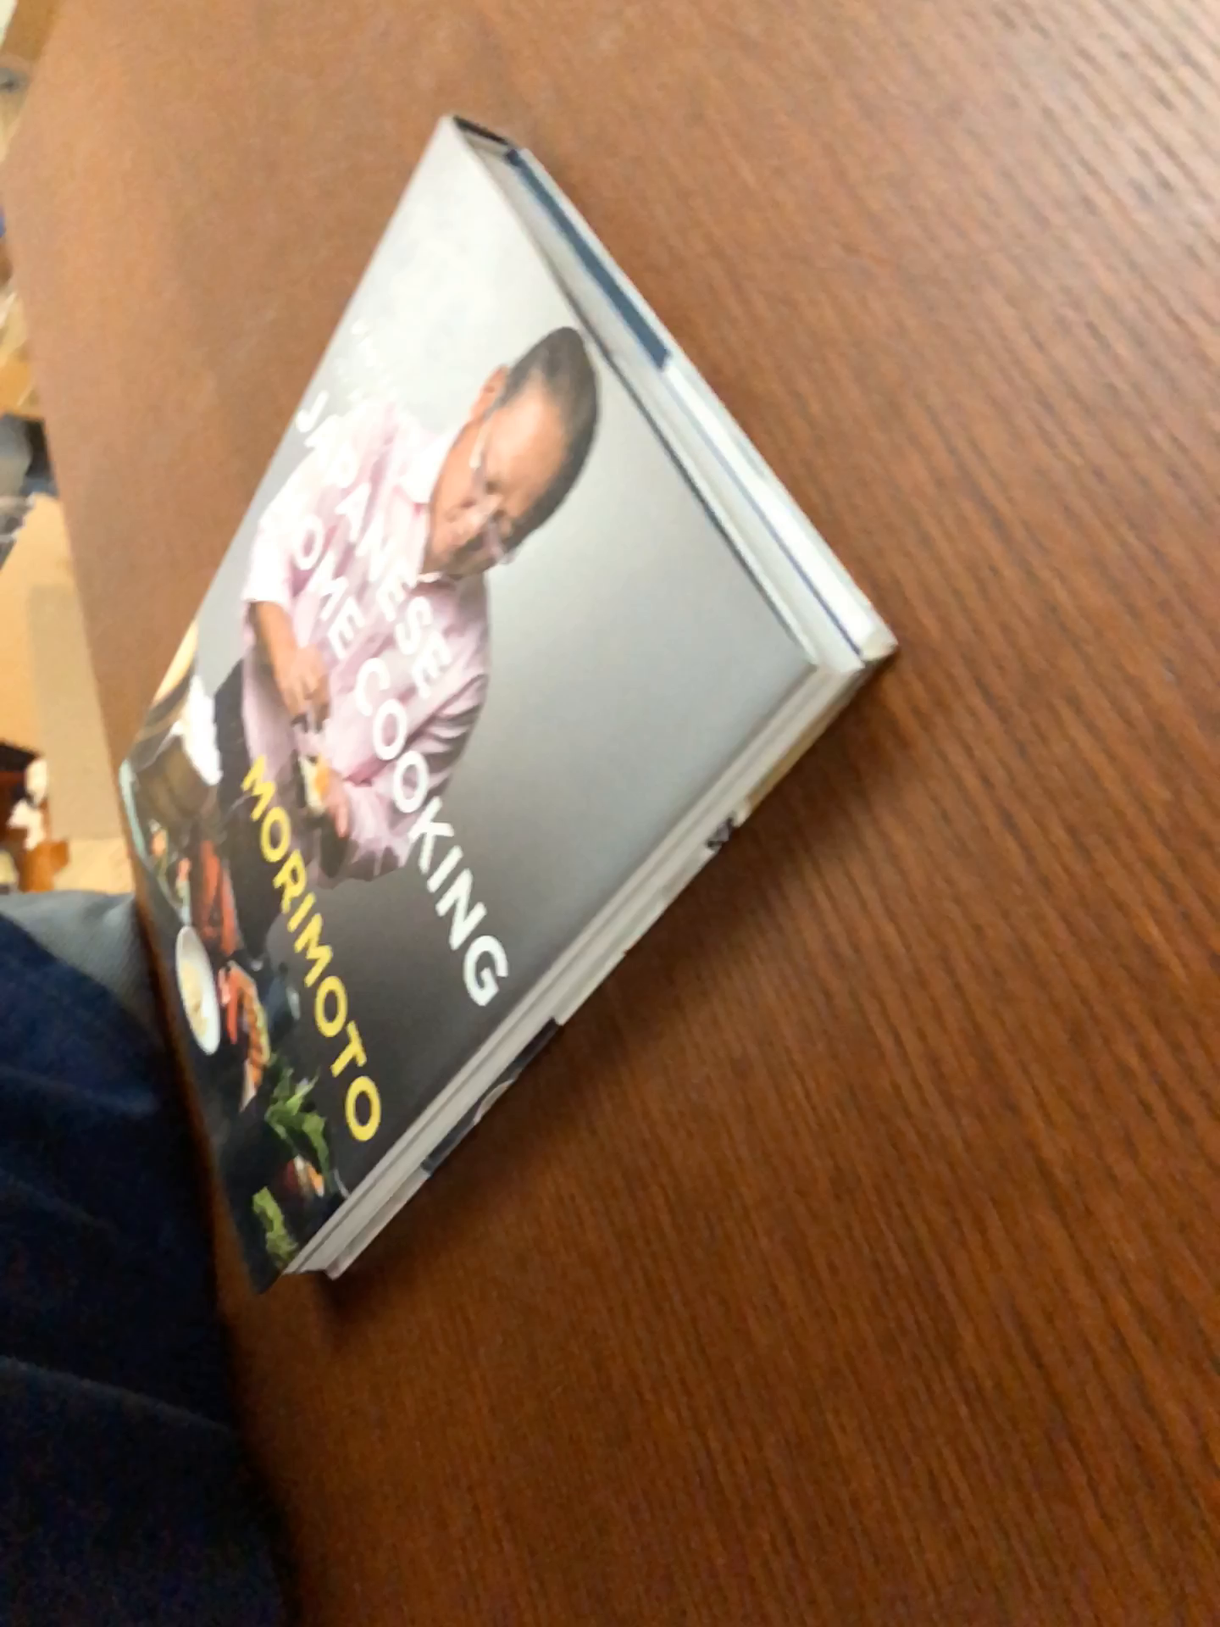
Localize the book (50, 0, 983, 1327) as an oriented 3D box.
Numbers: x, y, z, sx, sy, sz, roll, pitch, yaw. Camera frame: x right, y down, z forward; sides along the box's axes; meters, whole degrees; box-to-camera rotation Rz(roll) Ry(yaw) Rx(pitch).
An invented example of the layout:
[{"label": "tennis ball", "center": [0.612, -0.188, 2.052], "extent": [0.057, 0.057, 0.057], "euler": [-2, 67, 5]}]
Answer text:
[{"label": "book", "center": [-0.070, -0.036, 0.363], "extent": [0.301, 0.030, 0.221], "euler": [-50, 51, 33]}]
